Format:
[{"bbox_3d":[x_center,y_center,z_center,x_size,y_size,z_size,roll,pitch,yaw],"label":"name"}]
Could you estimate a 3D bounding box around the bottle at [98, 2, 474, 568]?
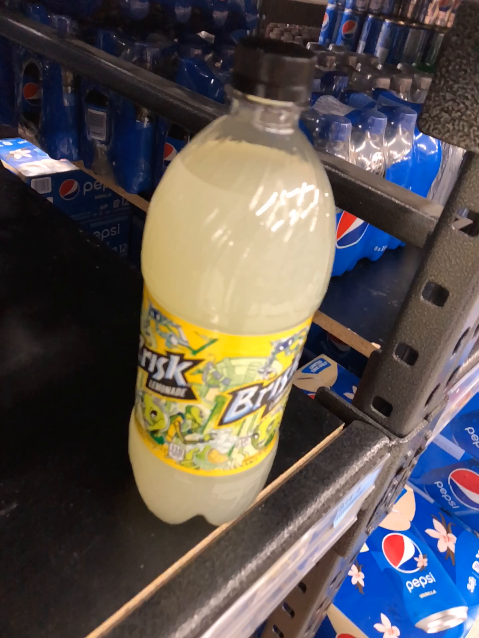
[{"bbox_3d":[0.001,-0.005,0.247,0.090,0.228,0.090,9,35,-6],"label":"bottle"}]
